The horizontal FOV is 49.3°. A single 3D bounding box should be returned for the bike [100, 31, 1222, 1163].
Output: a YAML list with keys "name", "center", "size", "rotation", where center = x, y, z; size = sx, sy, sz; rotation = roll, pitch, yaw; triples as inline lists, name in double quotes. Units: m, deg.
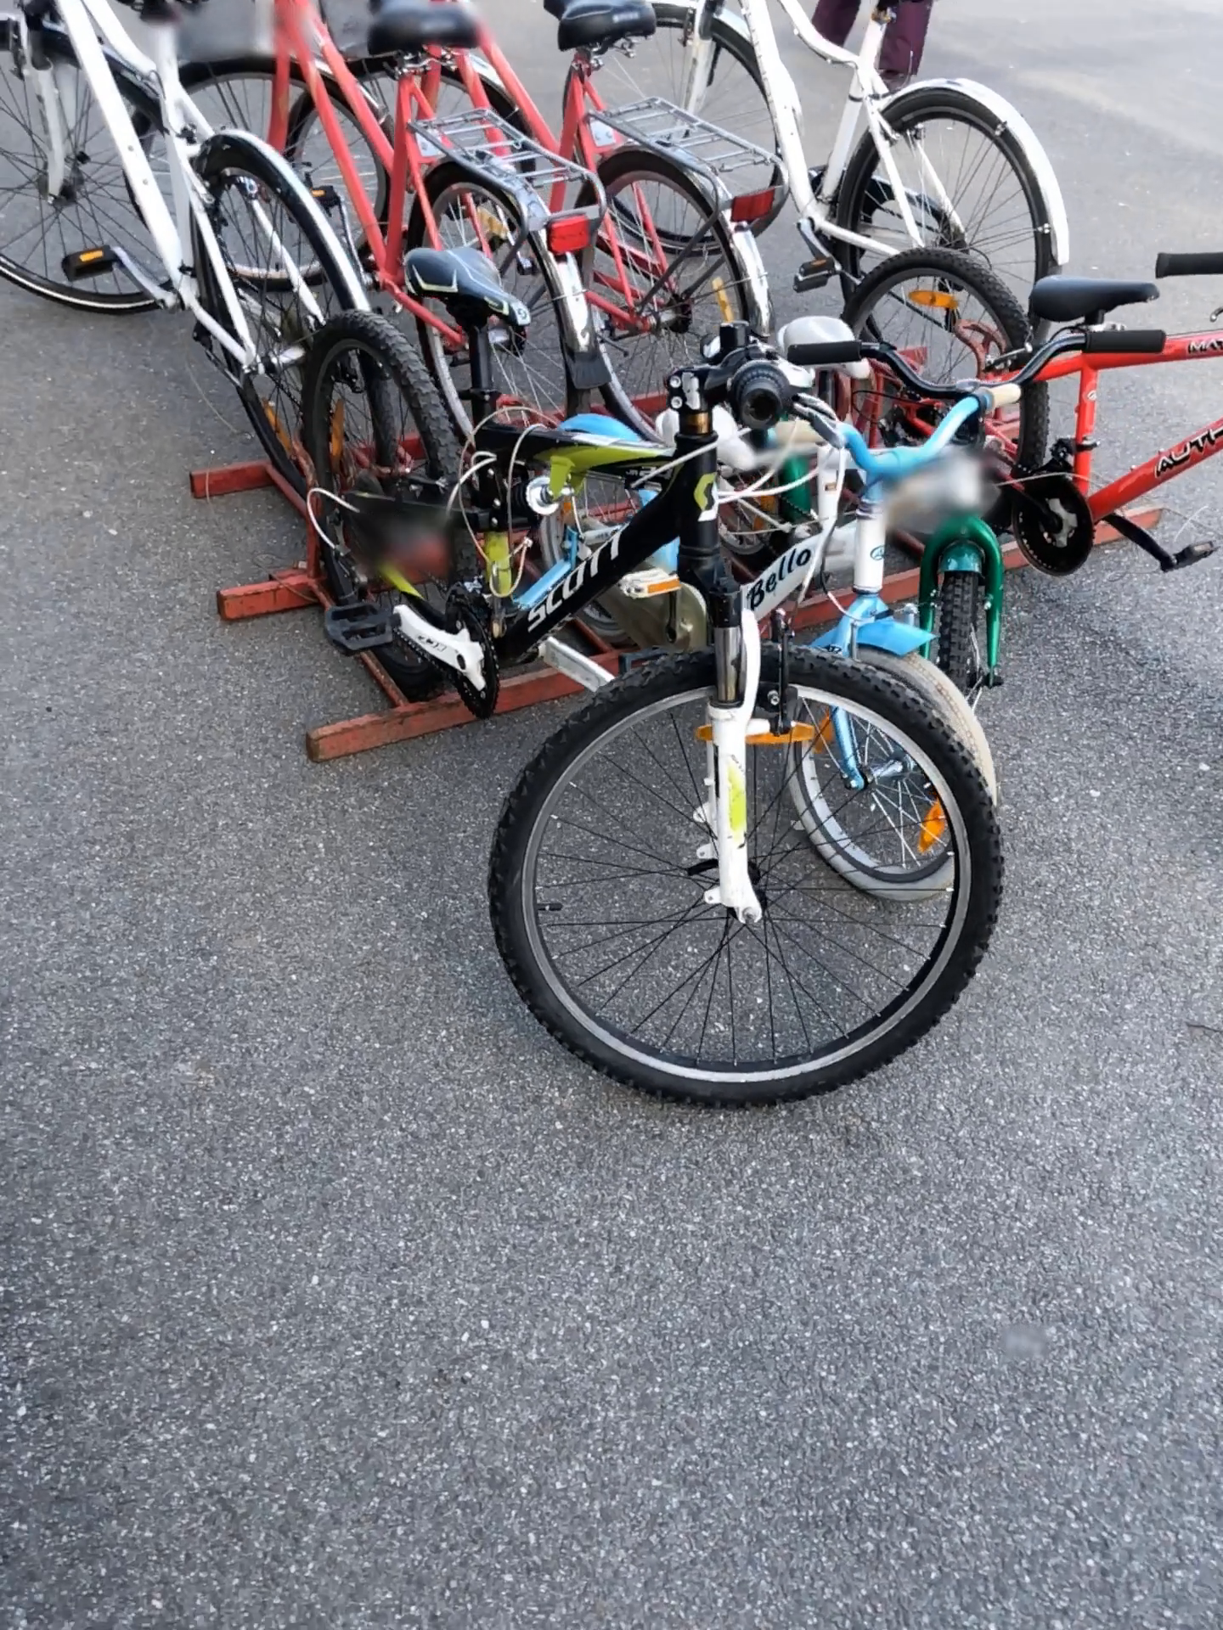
- name: "bike"
  center: [-0.038, -0.373, 1.752]
  size: [0.529, 0.901, 1.377]
  rotation: [-24, 48, -35]
